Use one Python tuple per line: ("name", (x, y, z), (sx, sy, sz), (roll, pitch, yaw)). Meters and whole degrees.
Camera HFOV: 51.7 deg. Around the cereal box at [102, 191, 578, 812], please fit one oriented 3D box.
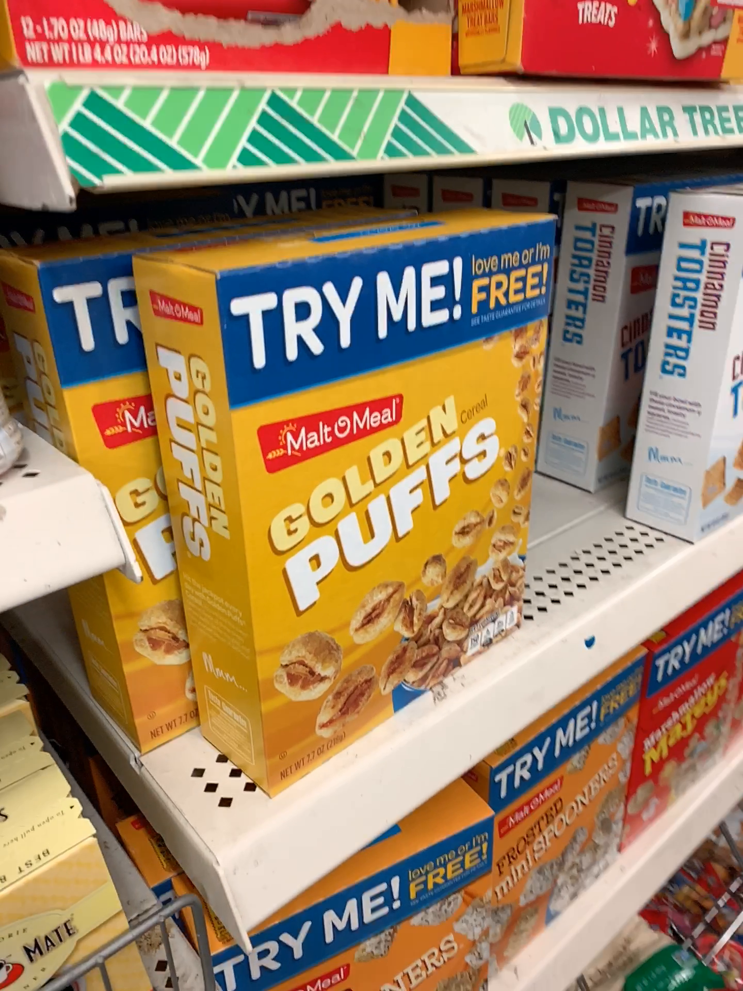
("cereal box", (0.003, -0.009, 0.342), (0.190, 0.219, 0.060), (-24, 34, -37))
